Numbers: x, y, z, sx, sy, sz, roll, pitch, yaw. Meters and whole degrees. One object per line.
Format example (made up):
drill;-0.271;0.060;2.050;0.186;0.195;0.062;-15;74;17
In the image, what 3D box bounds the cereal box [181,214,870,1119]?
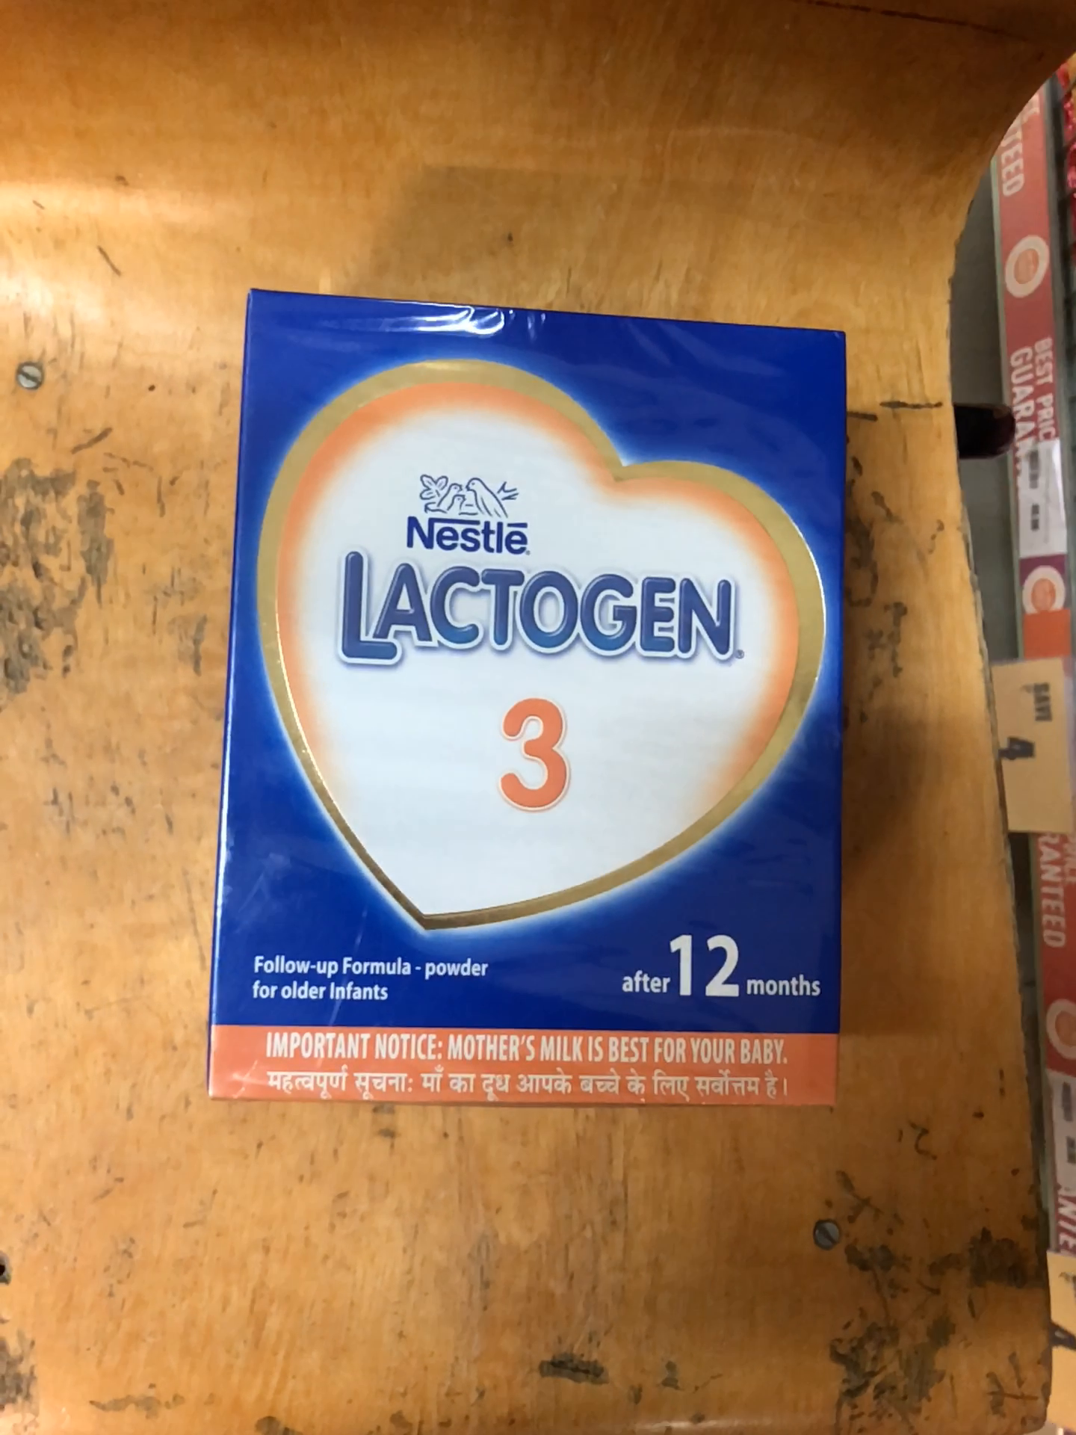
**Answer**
cereal box;-0.001;-0.010;0.302;0.150;0.060;0.200;2;86;-6
